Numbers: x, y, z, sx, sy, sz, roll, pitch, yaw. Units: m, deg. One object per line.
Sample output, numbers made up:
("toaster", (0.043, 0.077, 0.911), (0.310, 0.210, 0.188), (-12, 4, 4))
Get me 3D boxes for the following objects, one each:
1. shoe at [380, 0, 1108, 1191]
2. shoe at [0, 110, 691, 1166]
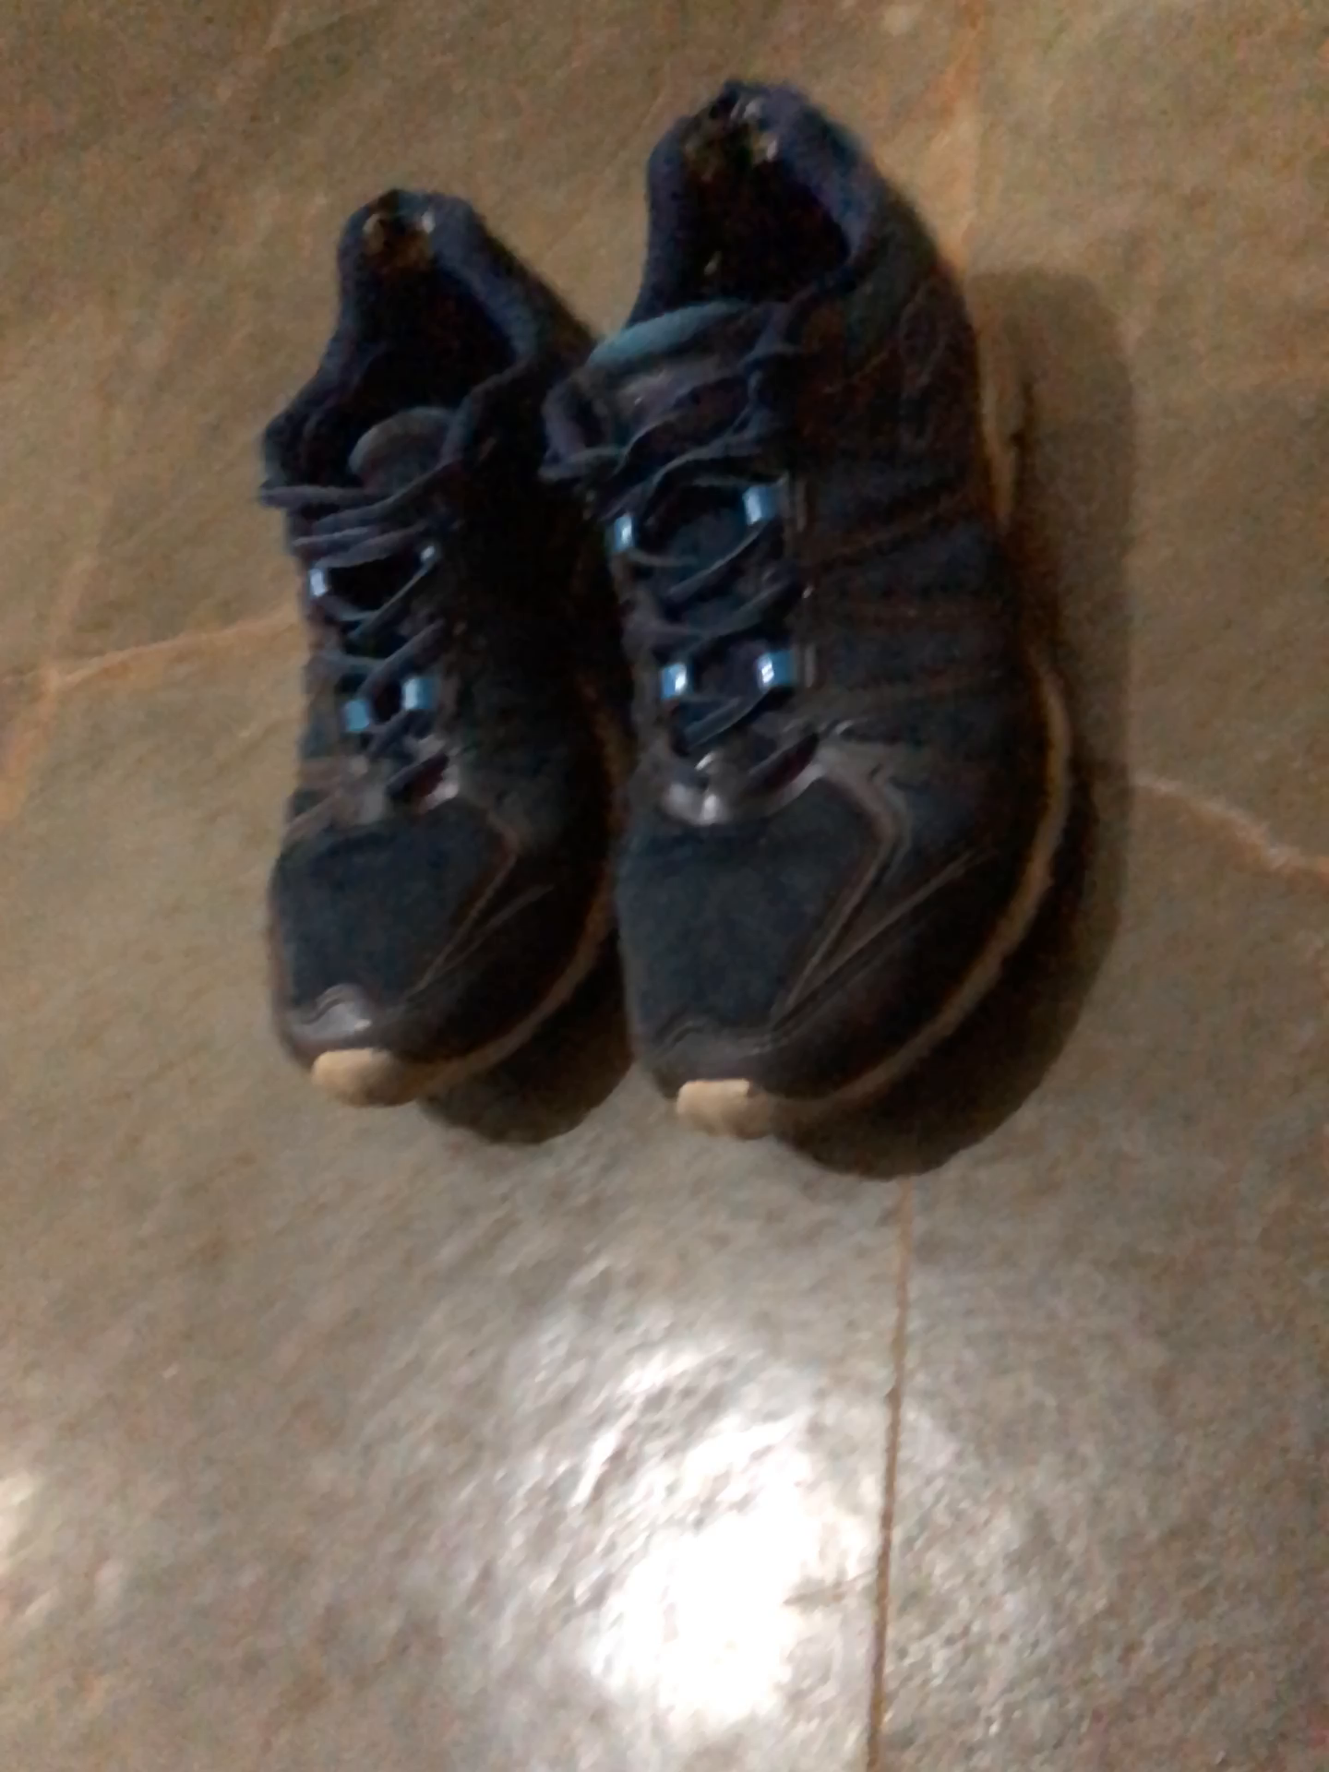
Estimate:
("shoe", (0.038, -0.077, 0.373), (0.120, 0.109, 0.281), (-5, 62, 27))
("shoe", (-0.083, -0.070, 0.438), (0.120, 0.109, 0.281), (-7, 61, 27))
